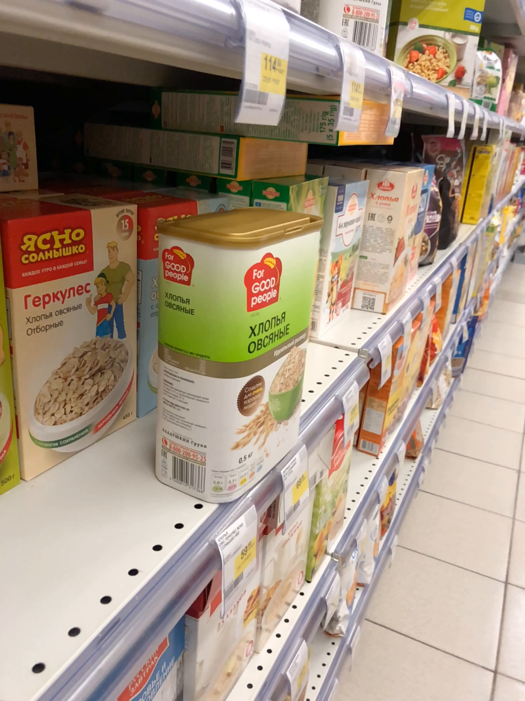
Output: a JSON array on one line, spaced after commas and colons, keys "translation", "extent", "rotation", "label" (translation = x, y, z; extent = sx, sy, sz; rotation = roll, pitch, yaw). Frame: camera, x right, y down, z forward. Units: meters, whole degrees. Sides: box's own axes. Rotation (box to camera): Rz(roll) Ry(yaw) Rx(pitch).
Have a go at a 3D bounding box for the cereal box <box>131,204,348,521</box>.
[{"translation": [-0.015, -0.003, 0.437], "extent": [0.090, 0.189, 0.141], "rotation": [15, 24, 27], "label": "cereal box"}]
